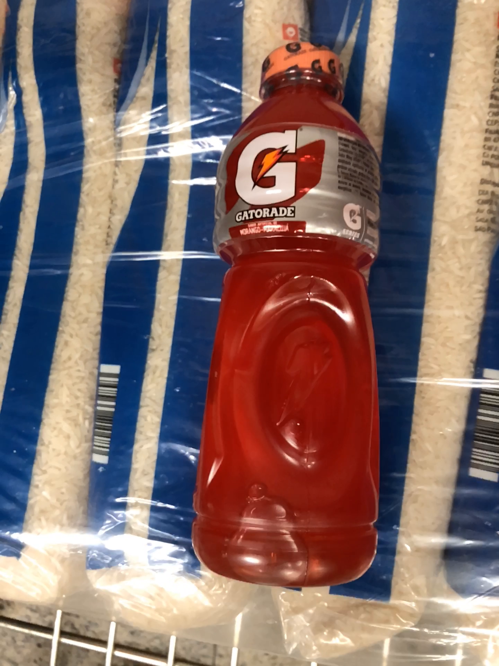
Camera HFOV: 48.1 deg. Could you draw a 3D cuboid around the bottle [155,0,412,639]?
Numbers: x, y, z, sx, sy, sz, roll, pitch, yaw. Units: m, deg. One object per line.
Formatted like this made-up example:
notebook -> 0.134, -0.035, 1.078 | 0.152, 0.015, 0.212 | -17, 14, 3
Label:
bottle -> 0.017, -0.017, 0.212 | 0.080, 0.060, 0.220 | 1, 86, 14
